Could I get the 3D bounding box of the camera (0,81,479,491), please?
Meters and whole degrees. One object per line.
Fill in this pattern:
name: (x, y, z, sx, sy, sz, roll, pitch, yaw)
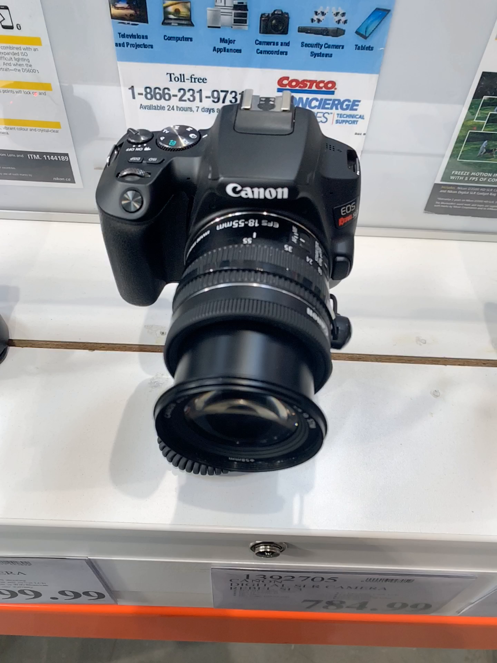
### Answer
camera: (-0.004, -0.024, 0.199, 0.119, 0.079, 0.141, 2, 49, -1)
